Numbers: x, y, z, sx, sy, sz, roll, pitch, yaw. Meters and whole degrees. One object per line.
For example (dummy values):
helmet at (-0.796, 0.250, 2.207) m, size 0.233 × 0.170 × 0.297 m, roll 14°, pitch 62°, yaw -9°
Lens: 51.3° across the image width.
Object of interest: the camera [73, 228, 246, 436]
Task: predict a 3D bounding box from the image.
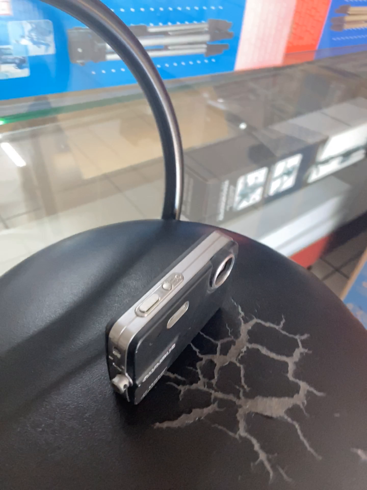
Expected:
camera at (-0.009, 0.043, 0.213) m, size 0.030 × 0.060 × 0.101 m, roll 30°, pitch 47°, yaw 23°
